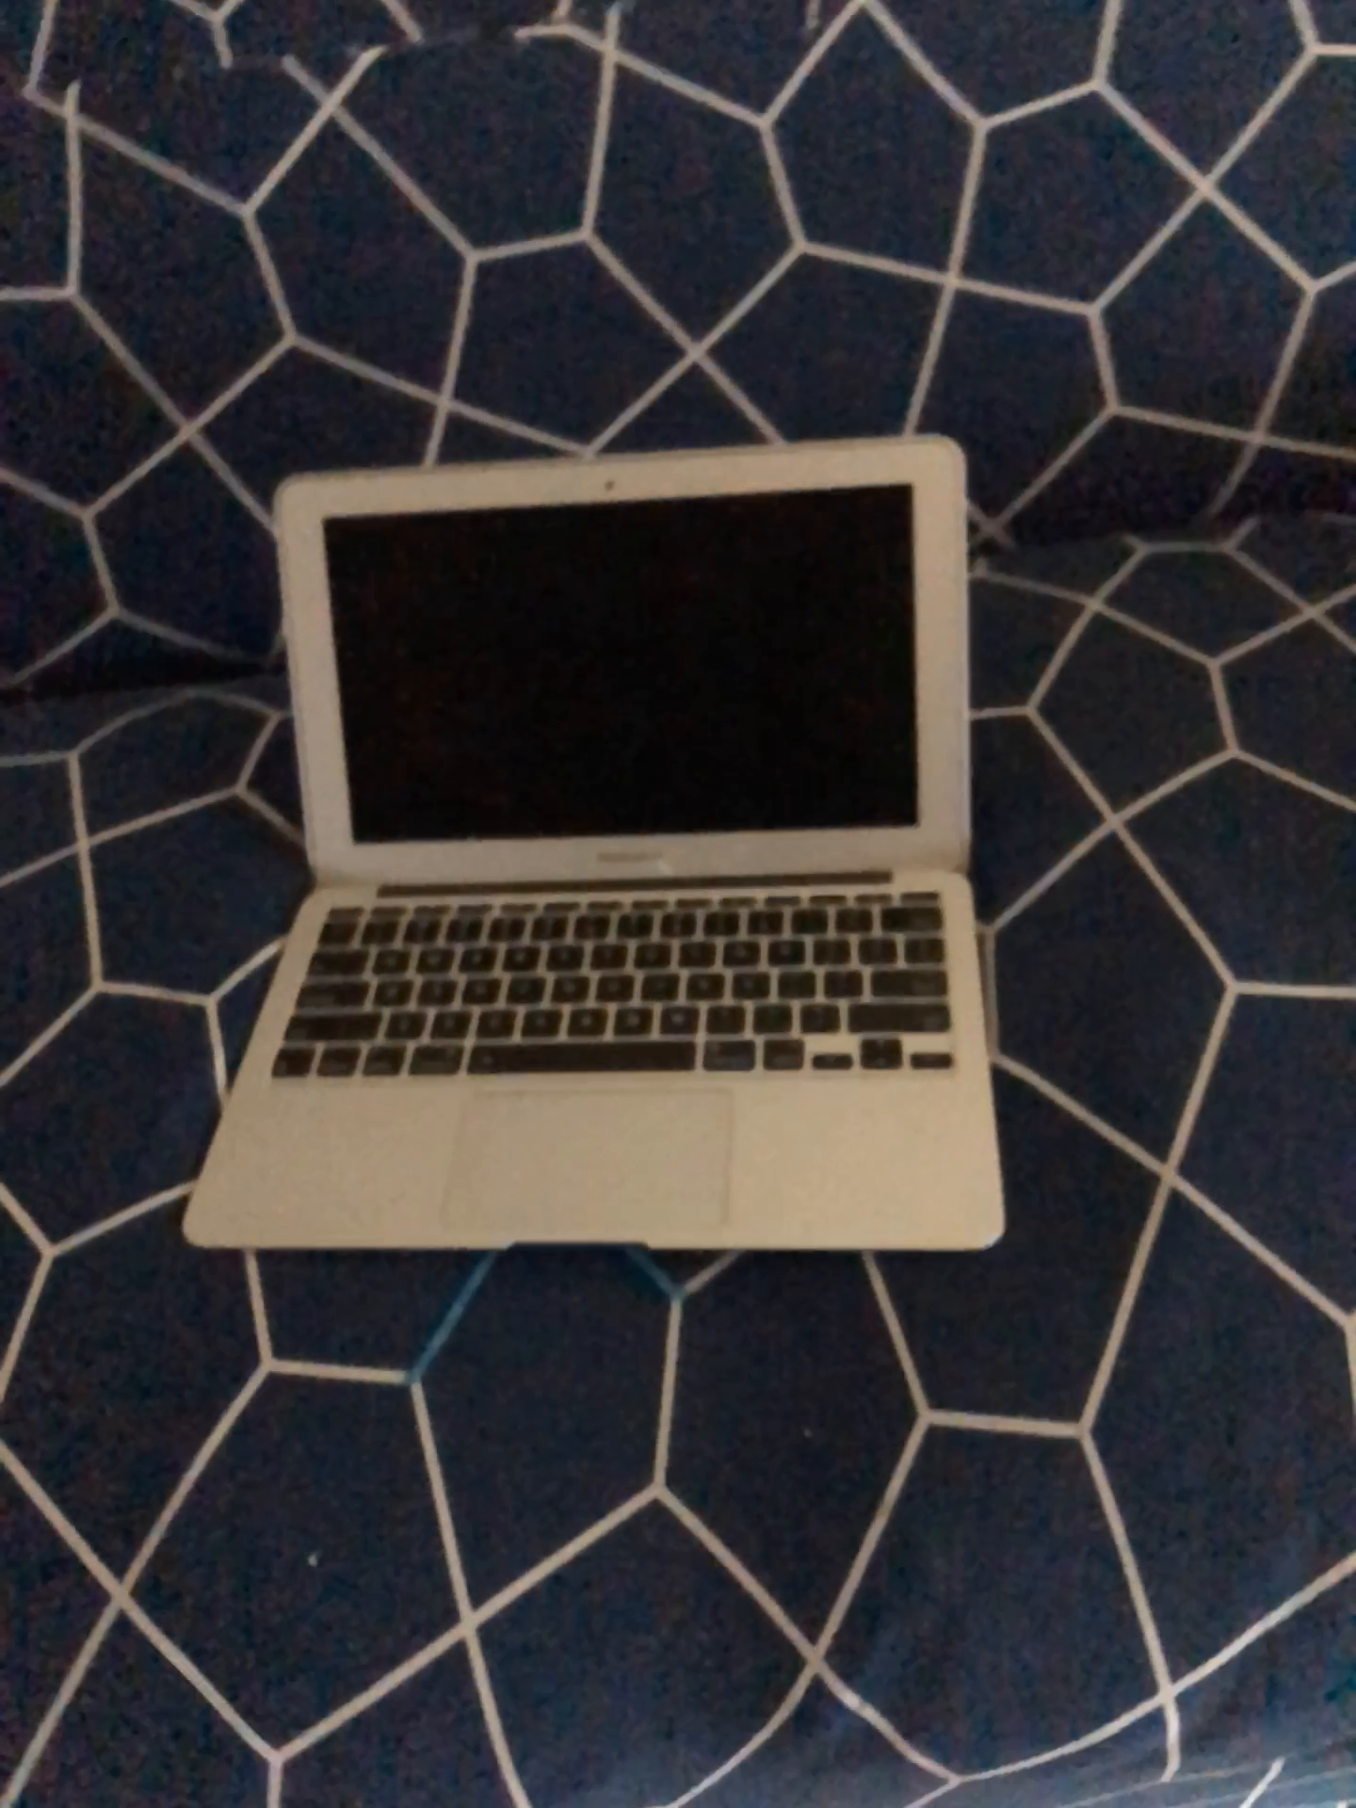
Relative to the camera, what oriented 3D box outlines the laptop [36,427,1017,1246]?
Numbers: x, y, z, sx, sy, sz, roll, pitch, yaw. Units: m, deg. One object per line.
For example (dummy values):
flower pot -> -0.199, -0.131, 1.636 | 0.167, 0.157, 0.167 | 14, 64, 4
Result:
laptop -> -0.033, -0.038, 0.576 | 0.281, 0.156, 0.281 | -1, 42, 6
